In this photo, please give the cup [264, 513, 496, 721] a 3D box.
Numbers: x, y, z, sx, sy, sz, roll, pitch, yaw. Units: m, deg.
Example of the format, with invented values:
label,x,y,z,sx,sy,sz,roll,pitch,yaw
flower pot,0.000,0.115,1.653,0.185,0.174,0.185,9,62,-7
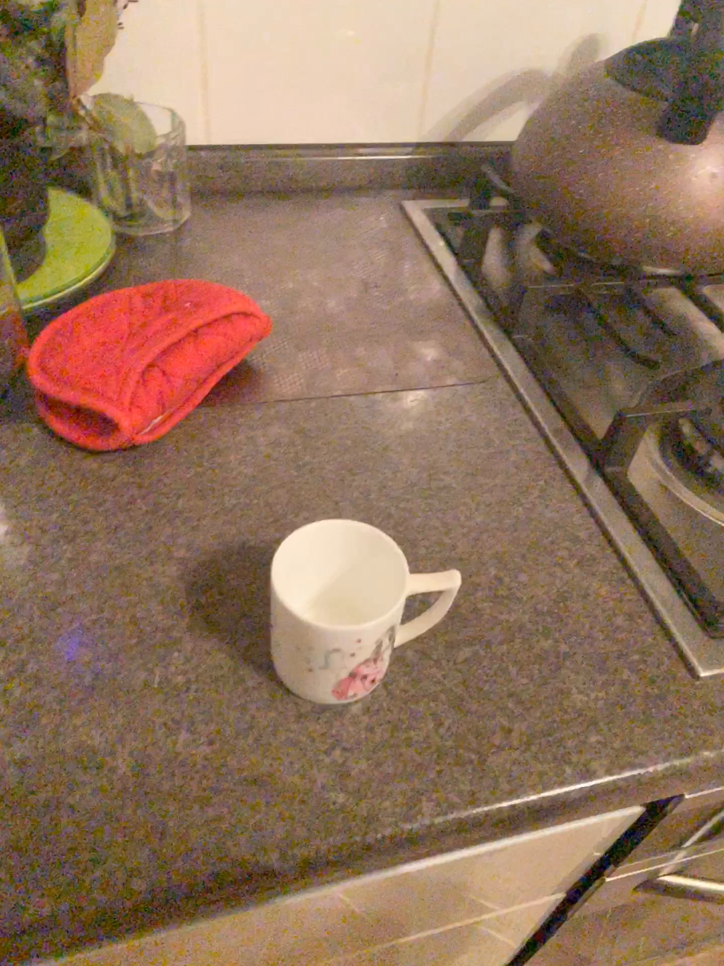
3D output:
label,x,y,z,sx,sy,sz,roll,pitch,yaw
cup,0.002,0.059,0.331,0.090,0.069,0.061,0,45,-7
